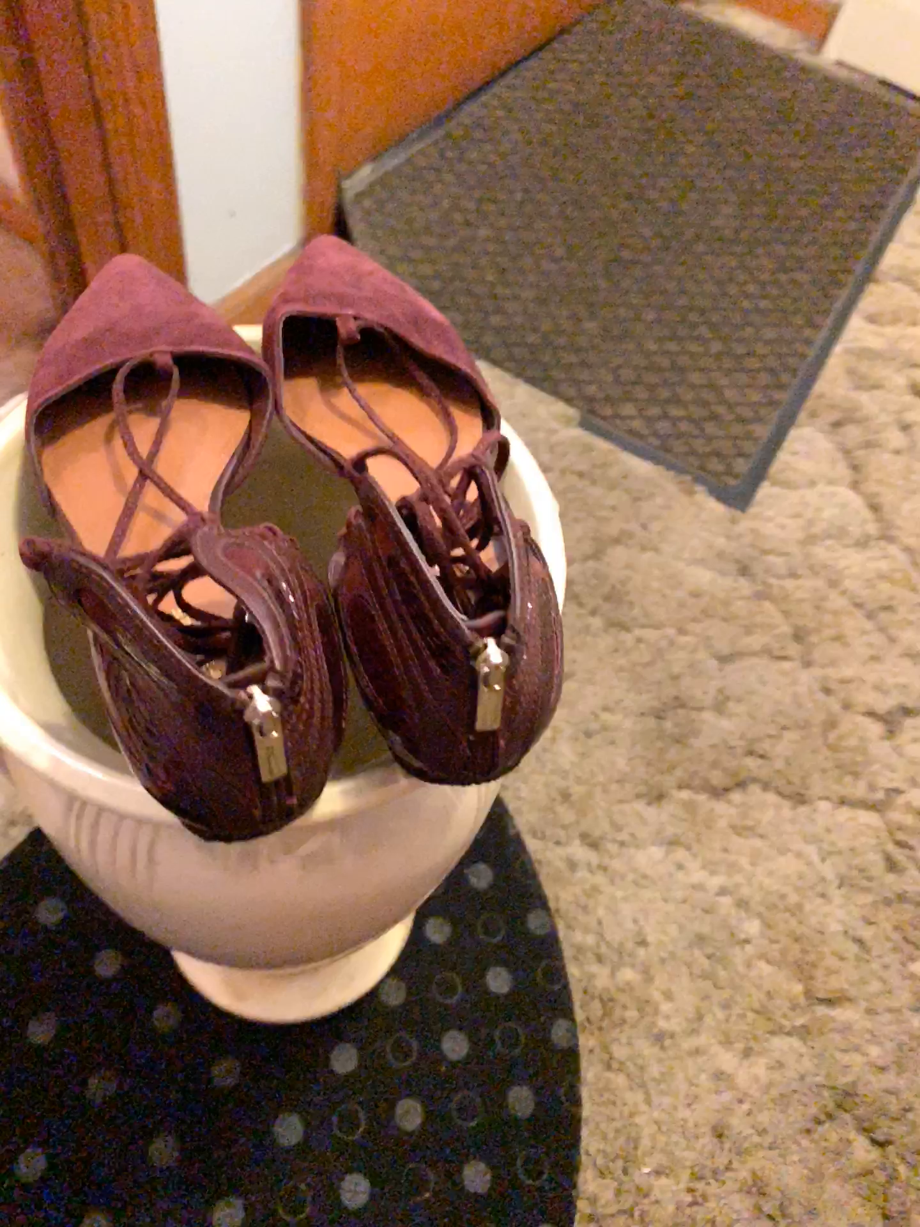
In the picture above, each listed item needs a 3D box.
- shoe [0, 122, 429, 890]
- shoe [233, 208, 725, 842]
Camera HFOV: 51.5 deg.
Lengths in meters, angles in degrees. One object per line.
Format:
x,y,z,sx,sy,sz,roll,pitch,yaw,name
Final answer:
-0.102,-0.065,0.308,0.090,0.069,0.282,-13,50,-17,shoe
-0.019,-0.062,0.344,0.090,0.069,0.282,-8,42,-14,shoe
